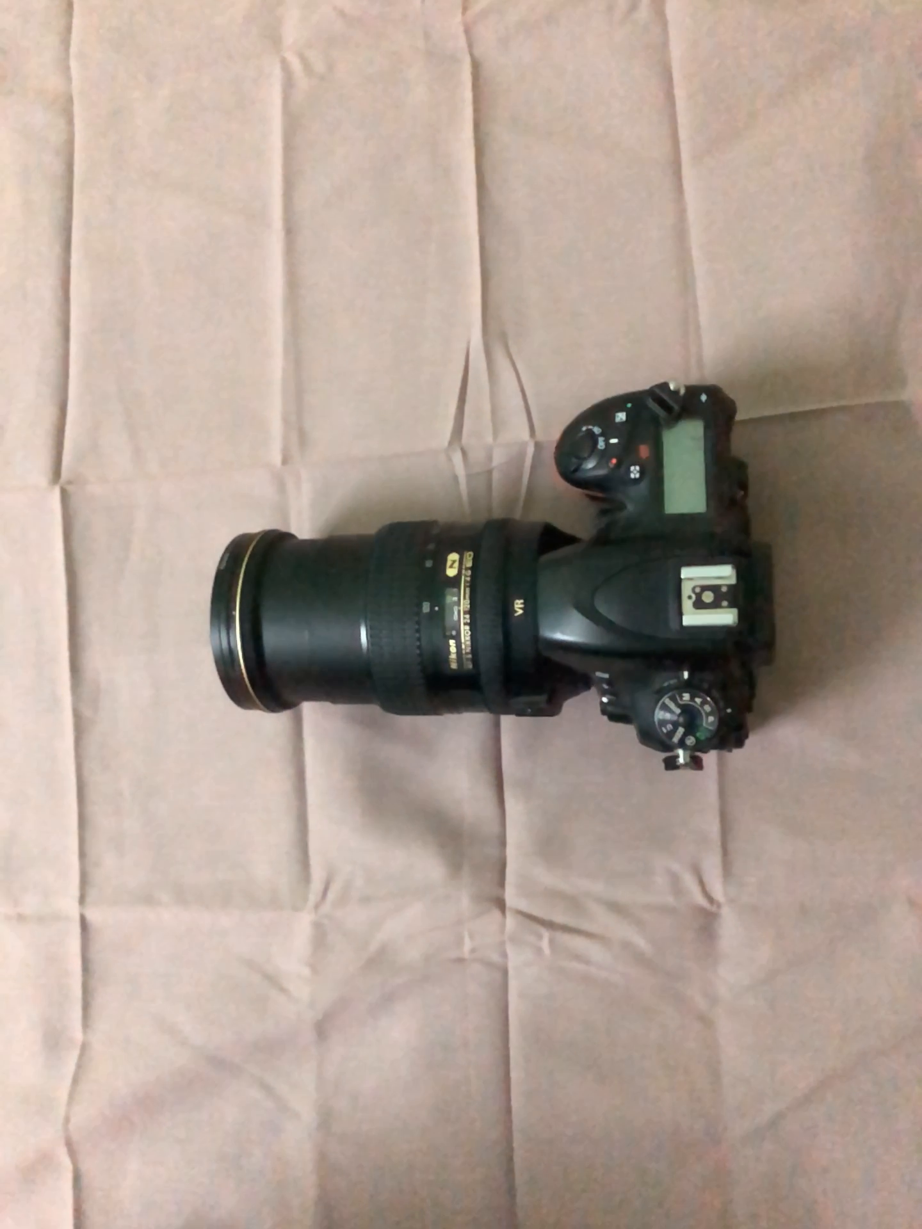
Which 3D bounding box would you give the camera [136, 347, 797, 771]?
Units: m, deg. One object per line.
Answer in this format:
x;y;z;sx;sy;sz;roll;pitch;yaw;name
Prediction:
0.004;-0.011;0.409;0.232;0.110;0.139;-2;84;12;camera
